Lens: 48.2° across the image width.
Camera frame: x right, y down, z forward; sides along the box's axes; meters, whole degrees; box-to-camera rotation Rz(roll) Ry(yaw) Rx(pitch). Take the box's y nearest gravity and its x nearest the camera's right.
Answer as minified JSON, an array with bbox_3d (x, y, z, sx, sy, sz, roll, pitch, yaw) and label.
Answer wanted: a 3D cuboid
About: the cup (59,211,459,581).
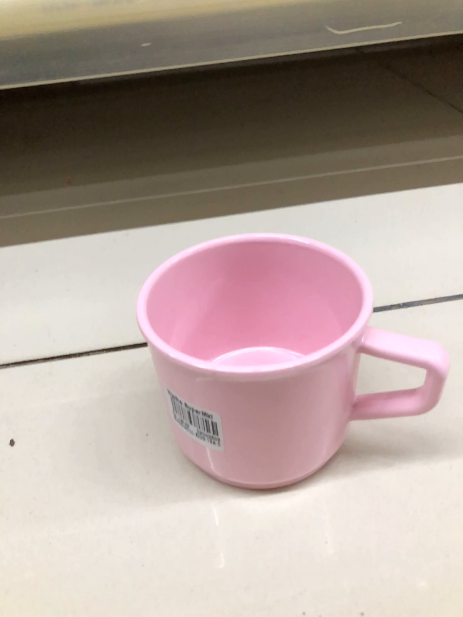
[{"bbox_3d":[0.016,0.023,0.193,0.110,0.079,0.081,11,40,22],"label":"cup"}]
